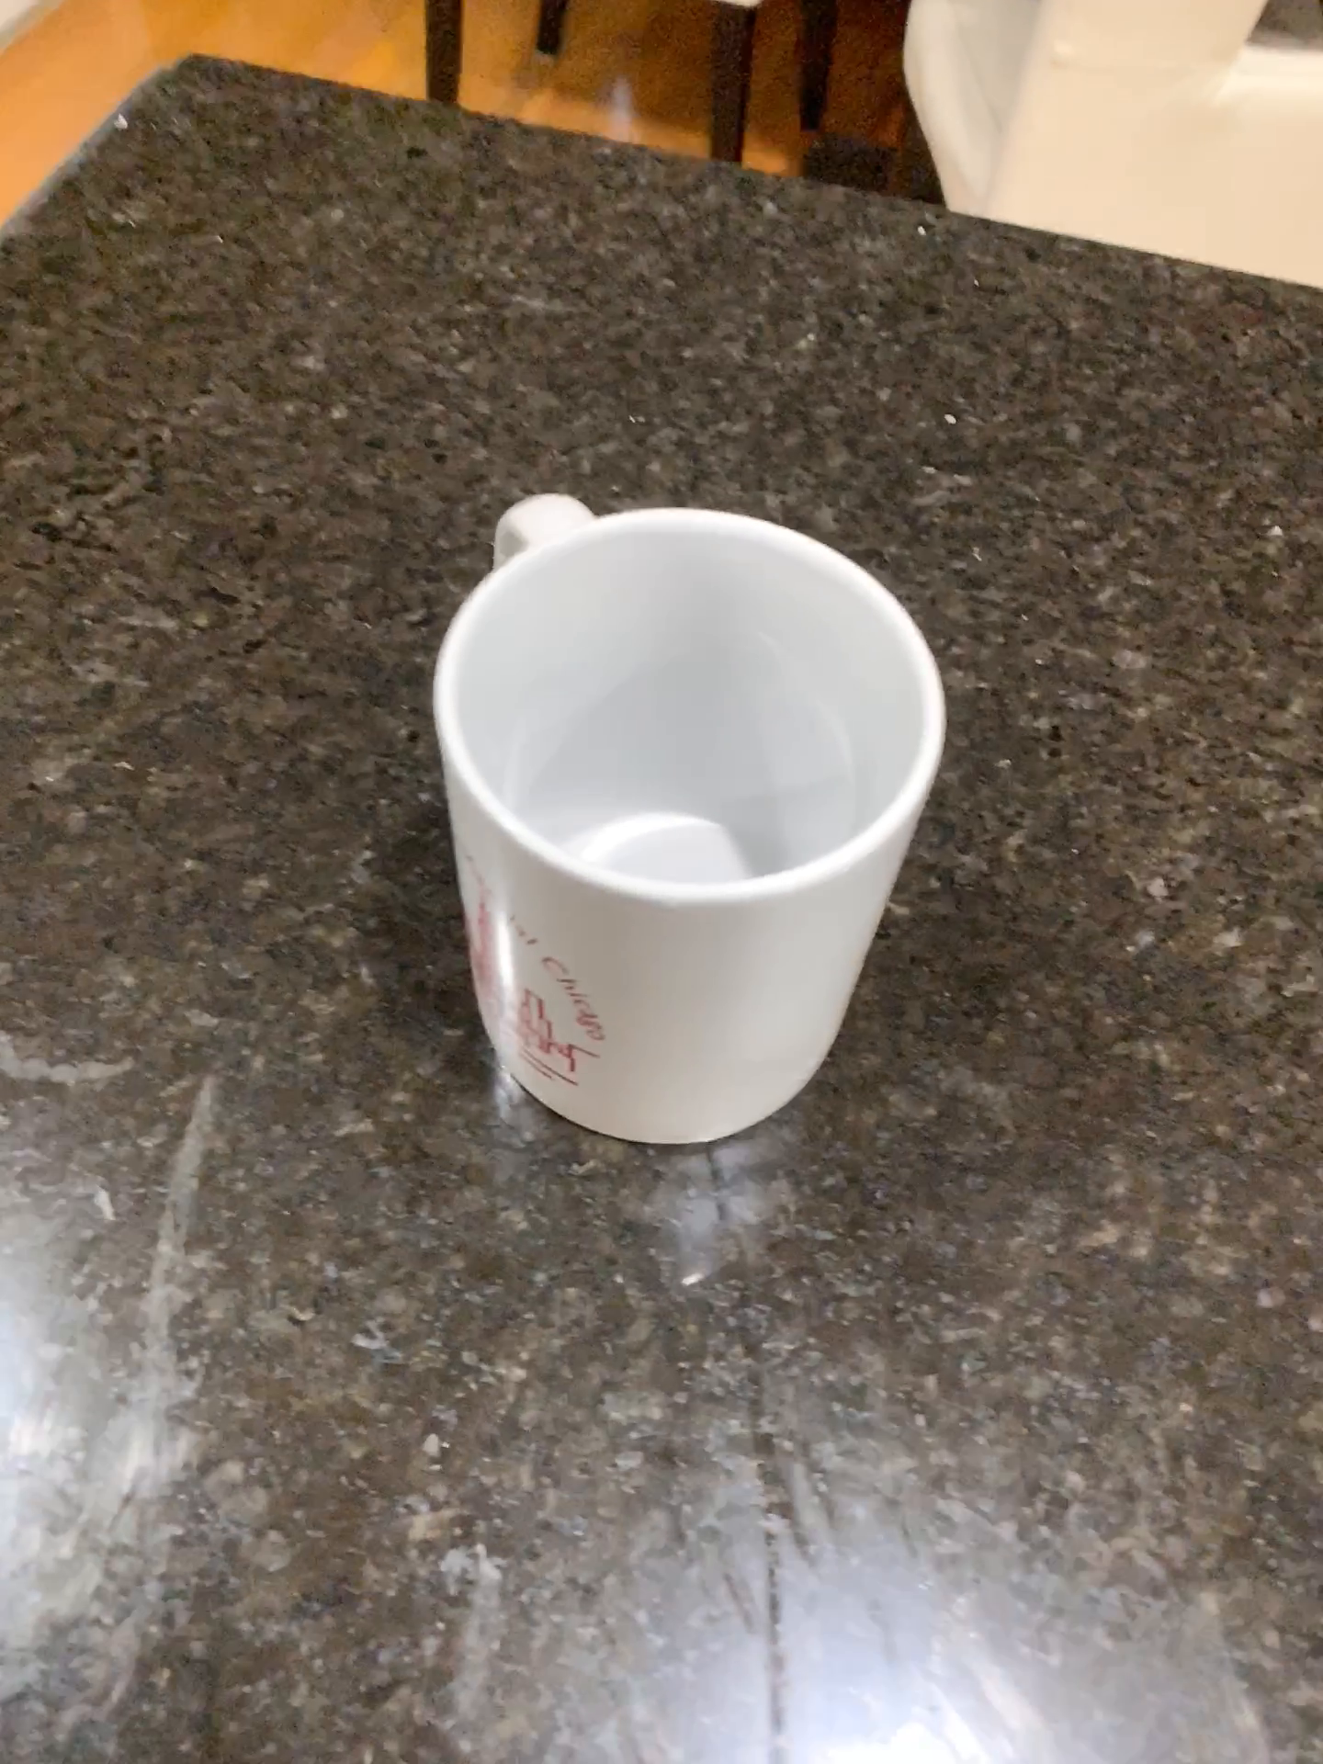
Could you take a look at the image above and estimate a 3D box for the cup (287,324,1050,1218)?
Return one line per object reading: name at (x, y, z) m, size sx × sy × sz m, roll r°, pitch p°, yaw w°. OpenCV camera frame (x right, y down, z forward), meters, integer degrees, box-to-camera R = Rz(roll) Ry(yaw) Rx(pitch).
cup at (-0.006, -0.022, 0.267) m, size 0.081 × 0.098 × 0.124 m, roll -21°, pitch 59°, yaw -16°
